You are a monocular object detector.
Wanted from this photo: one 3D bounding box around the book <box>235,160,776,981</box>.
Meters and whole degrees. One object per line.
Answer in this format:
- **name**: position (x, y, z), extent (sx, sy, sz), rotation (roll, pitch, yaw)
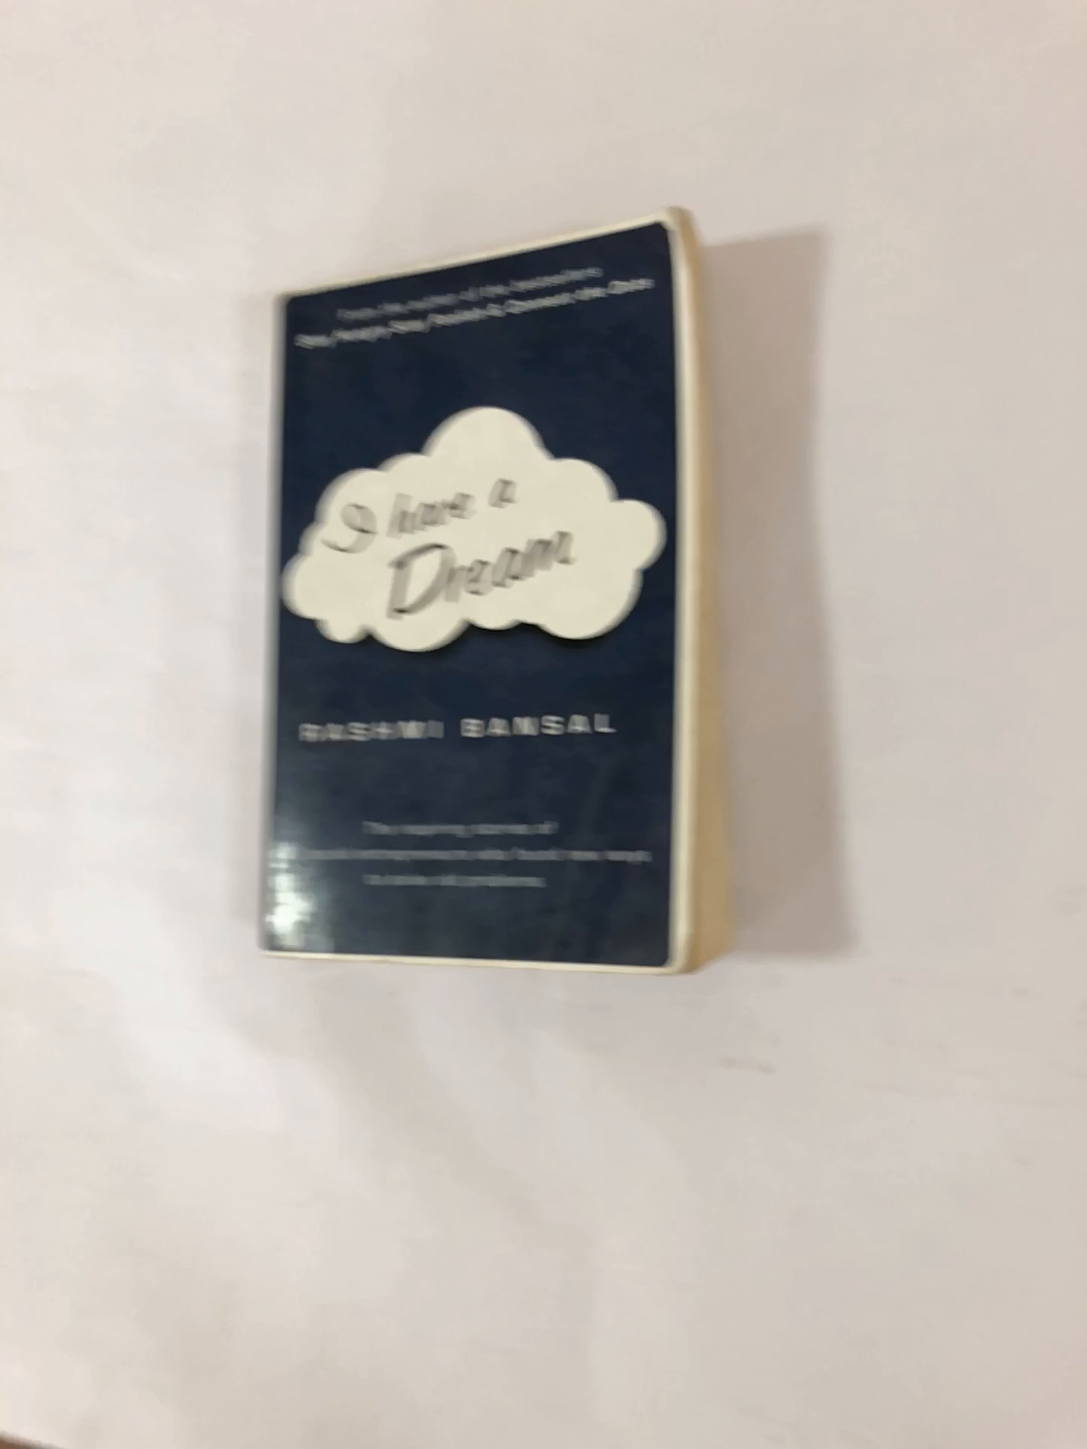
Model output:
- **book**: position (-0.012, -0.036, 0.329), extent (0.140, 0.030, 0.200), rotation (-2, 83, 21)
